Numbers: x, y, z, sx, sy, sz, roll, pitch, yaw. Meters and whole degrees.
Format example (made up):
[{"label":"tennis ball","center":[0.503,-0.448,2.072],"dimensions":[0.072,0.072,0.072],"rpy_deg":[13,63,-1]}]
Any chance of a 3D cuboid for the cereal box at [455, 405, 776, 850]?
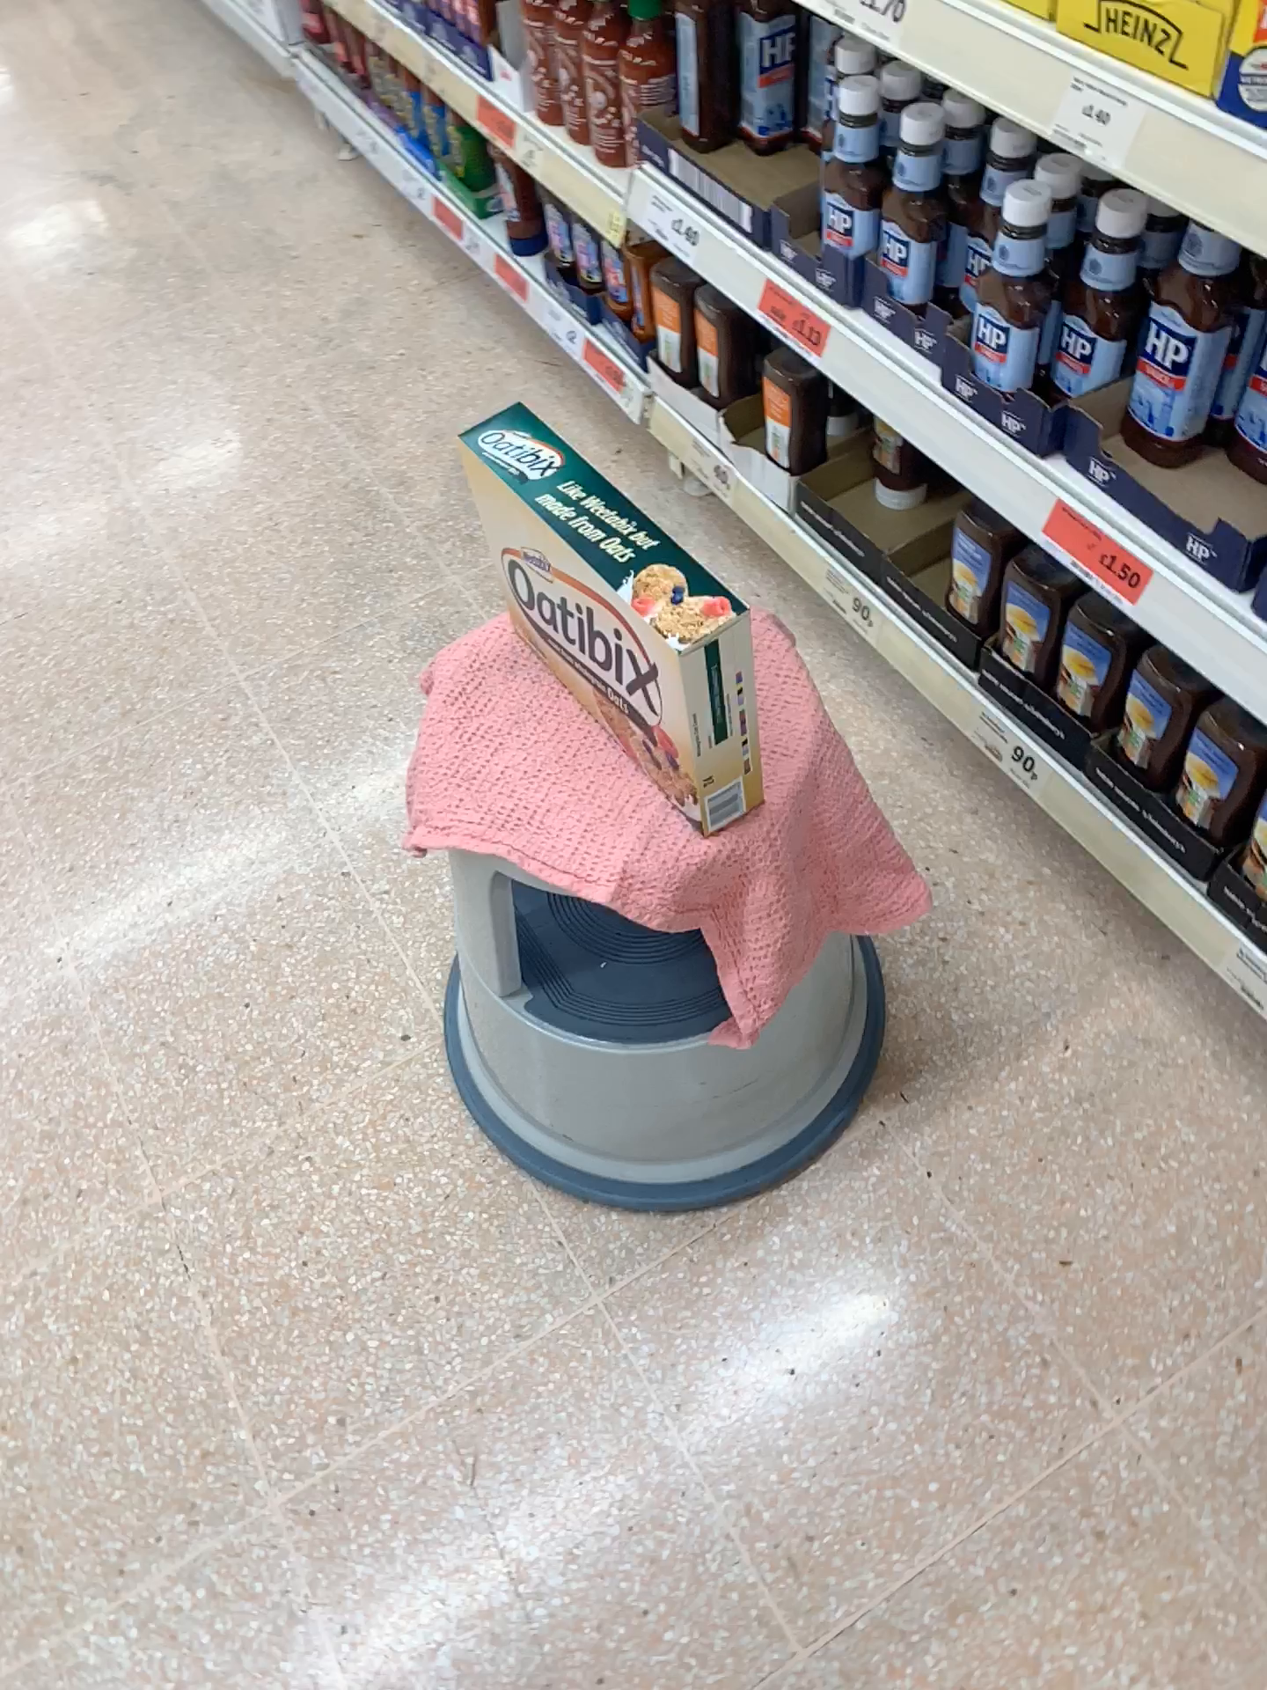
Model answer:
[{"label":"cereal box","center":[-0.012,-0.152,0.898],"dimensions":[0.060,0.189,0.272],"rpy_deg":[-32,56,-13]}]
